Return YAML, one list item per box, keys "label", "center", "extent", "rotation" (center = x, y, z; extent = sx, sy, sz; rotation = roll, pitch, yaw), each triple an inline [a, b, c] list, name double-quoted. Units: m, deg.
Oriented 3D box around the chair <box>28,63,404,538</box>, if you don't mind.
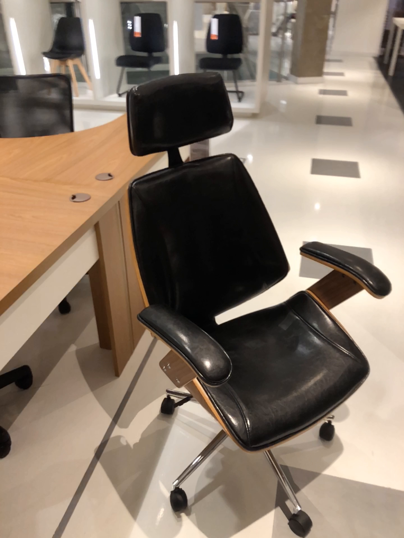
- label: "chair"
  center: [0.124, 0.108, 1.242]
  extent: [0.722, 1.102, 0.763]
  rotation: [-23, 39, -32]
